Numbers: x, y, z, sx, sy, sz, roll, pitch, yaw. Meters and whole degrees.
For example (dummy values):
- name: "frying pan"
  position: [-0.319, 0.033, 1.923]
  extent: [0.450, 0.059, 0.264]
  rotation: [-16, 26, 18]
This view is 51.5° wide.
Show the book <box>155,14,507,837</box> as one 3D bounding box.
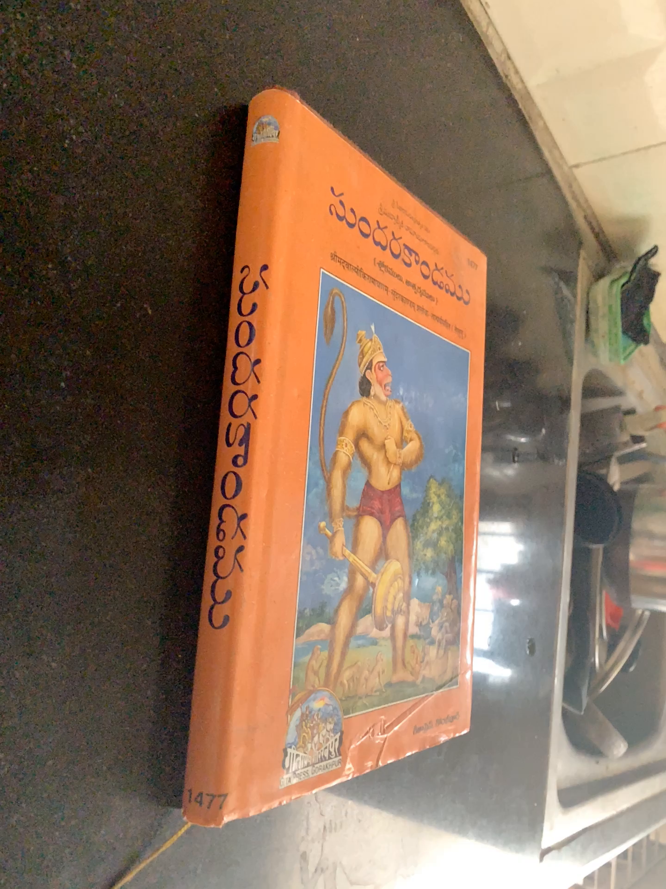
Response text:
- name: "book"
  position: [0.022, -0.004, 0.339]
  extent: [0.201, 0.040, 0.300]
  rotation: [14, 77, -52]
